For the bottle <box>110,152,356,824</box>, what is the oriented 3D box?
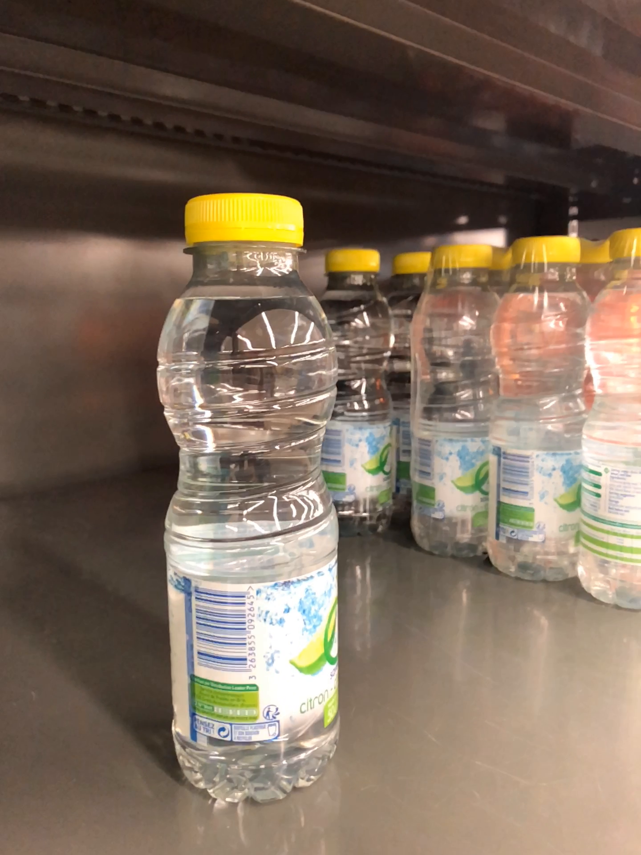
[{"bbox_3d":[-0.024,0.020,0.258,0.060,0.210,0.070,0,9,12],"label":"bottle"}]
